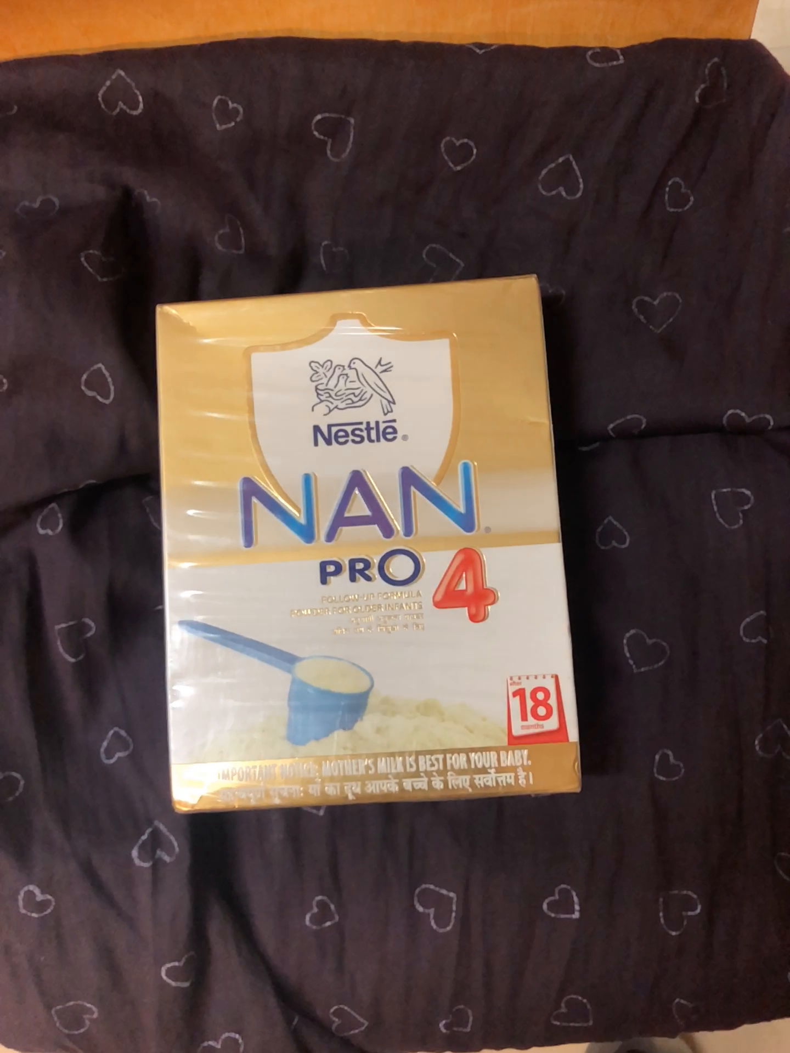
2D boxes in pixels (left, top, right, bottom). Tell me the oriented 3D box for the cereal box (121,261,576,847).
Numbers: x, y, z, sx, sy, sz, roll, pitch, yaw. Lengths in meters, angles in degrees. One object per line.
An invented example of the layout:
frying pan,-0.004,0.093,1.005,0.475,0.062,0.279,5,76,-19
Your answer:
cereal box,-0.020,0.010,0.353,0.160,0.050,0.210,-4,83,3
